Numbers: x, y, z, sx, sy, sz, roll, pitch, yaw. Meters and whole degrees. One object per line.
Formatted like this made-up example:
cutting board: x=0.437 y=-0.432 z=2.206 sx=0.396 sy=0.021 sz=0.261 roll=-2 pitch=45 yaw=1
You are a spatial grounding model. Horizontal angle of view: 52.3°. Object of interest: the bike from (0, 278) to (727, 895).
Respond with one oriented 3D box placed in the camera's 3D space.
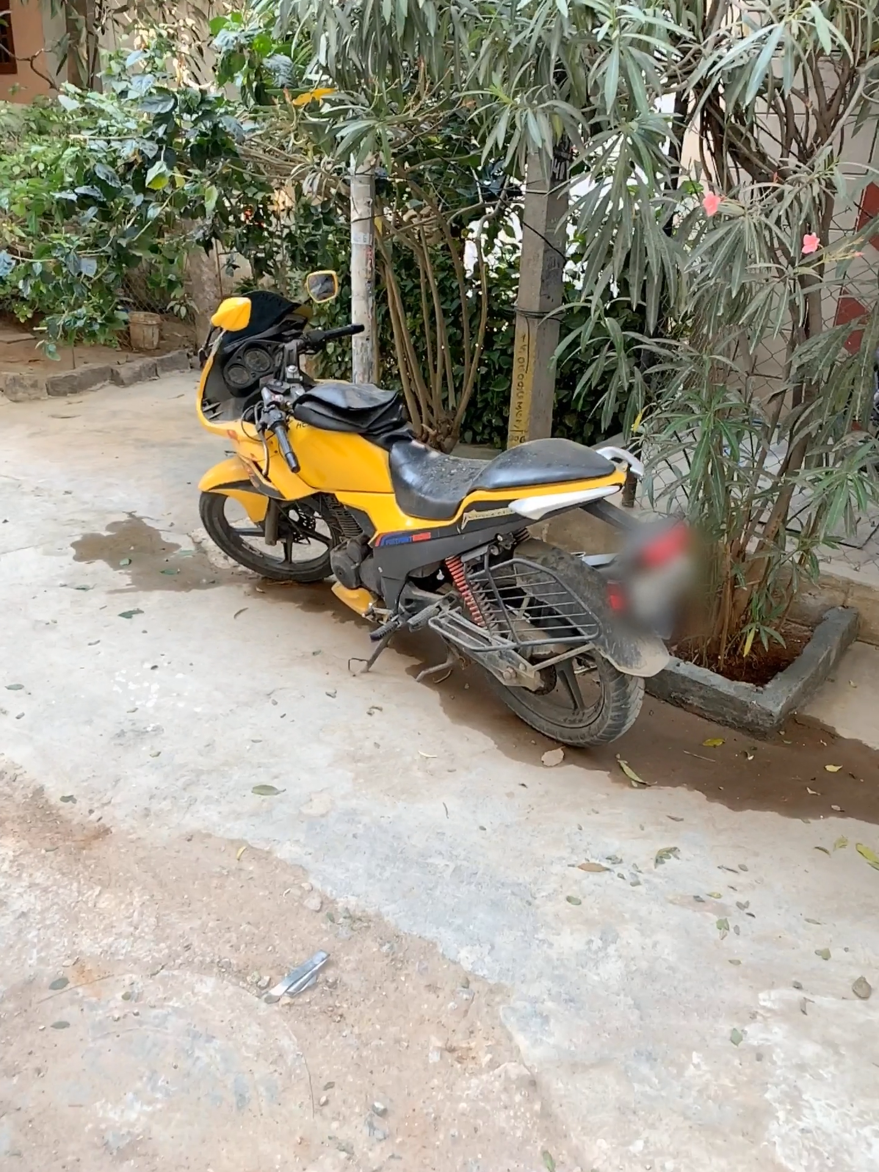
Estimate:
bike: x=-0.327 y=-0.183 z=2.502 sx=1.750 sy=0.954 sz=0.854 roll=25 pitch=32 yaw=33
